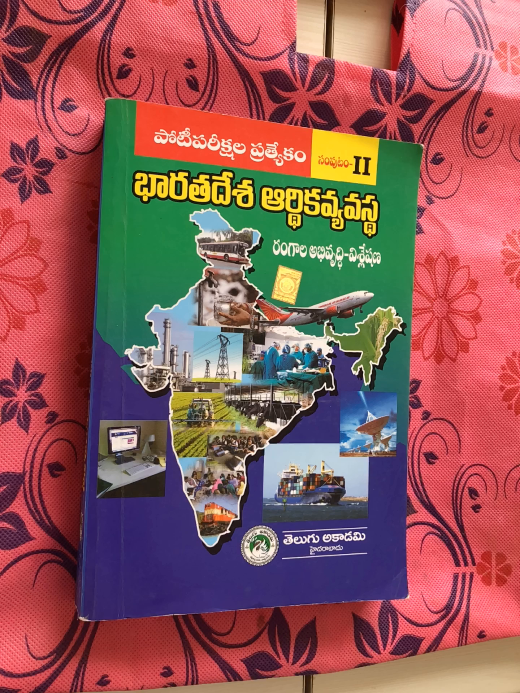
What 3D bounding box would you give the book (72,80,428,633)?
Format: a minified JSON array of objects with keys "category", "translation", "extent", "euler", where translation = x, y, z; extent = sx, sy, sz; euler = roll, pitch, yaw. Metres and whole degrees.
[{"category":"book","translation":[-0.001,0.008,0.337],"extent":[0.190,0.040,0.280],"euler":[3,88,-16]}]
